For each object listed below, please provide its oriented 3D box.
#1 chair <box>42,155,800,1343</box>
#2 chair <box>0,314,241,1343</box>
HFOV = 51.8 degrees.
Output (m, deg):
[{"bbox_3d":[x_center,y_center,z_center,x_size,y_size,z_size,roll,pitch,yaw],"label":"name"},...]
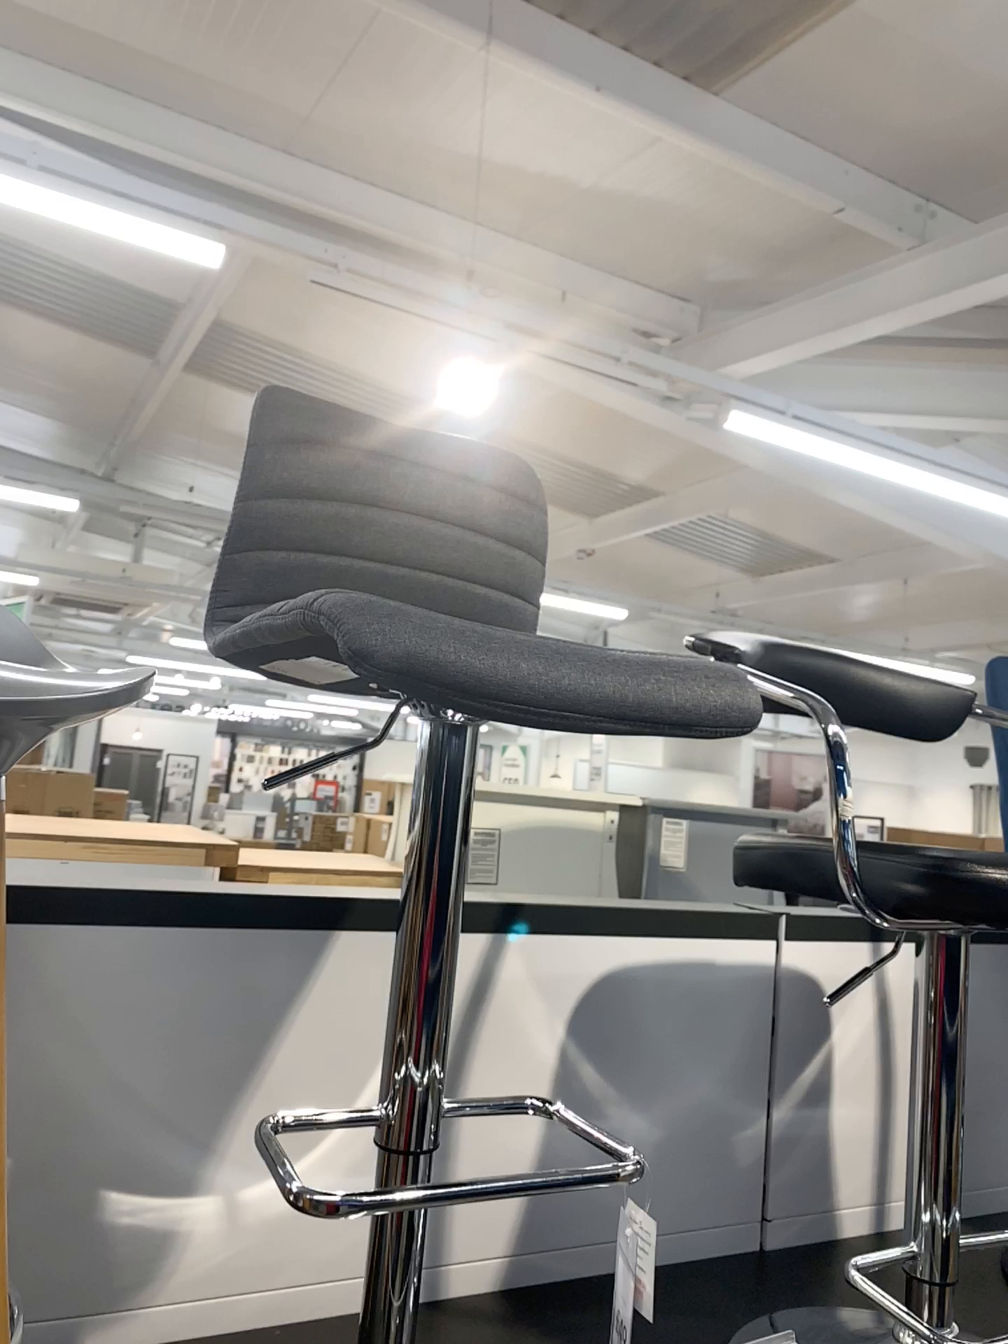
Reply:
[{"bbox_3d":[-0.079,0.193,0.956,0.445,1.033,0.451,9,-8,-32],"label":"chair"},{"bbox_3d":[-0.488,0.281,0.618,0.445,0.742,0.451,9,-8,-32],"label":"chair"}]
